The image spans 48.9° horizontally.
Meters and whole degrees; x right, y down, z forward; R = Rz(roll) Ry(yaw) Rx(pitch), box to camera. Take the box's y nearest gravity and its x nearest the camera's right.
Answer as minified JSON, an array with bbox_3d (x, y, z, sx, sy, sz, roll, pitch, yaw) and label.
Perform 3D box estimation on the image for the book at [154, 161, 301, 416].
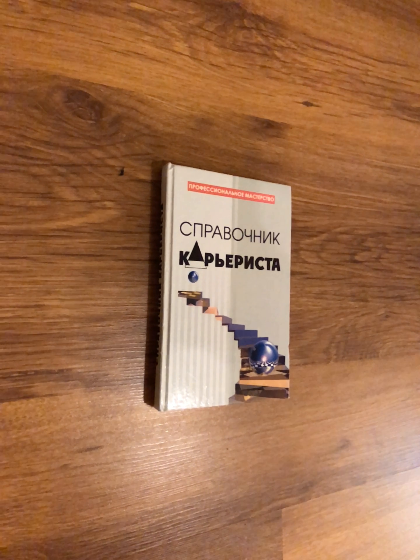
[{"bbox_3d":[0.020,0.009,0.414,0.136,0.026,0.204,3,86,-29],"label":"book"}]
